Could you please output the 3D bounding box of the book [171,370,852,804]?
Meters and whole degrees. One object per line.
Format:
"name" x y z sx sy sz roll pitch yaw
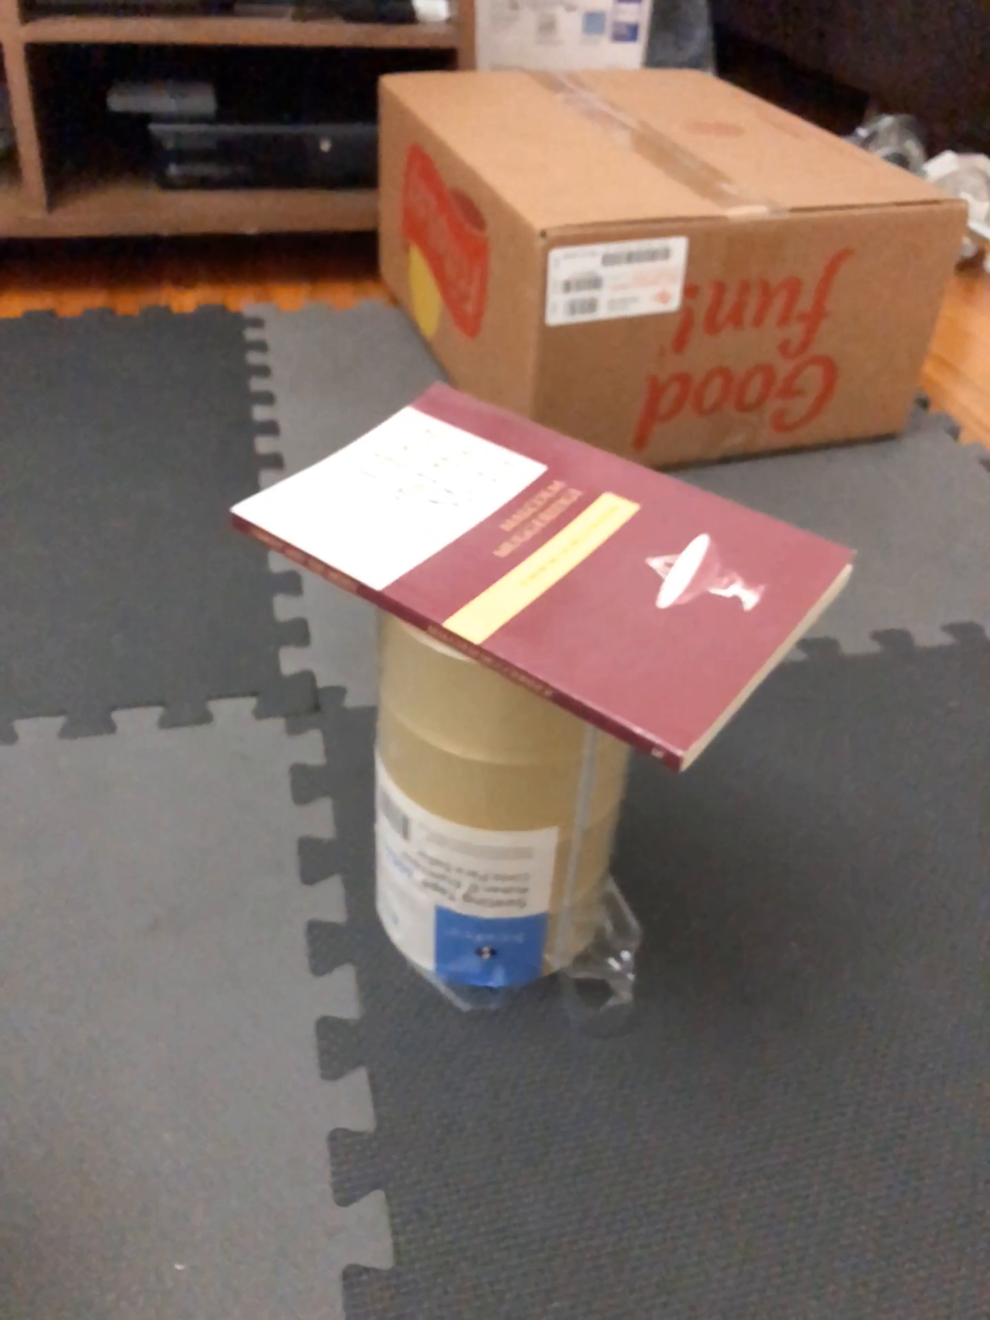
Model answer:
"book" 0.007 -0.043 0.414 0.210 0.020 0.141 27 45 24
